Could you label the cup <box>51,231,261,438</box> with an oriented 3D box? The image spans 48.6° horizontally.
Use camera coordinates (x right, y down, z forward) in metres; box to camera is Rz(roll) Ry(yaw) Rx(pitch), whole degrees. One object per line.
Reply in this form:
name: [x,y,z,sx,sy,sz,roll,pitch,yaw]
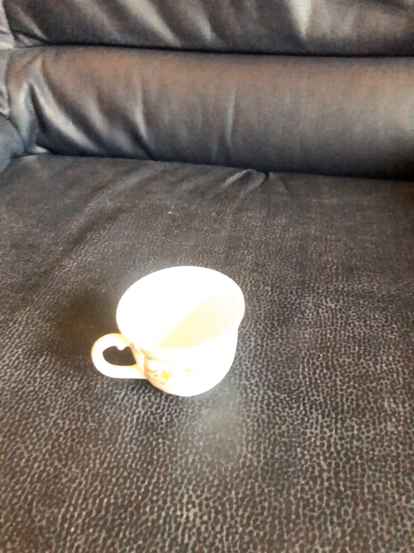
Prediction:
cup: [-0.027,0.025,0.234,0.083,0.050,0.069,-16,42,-16]
